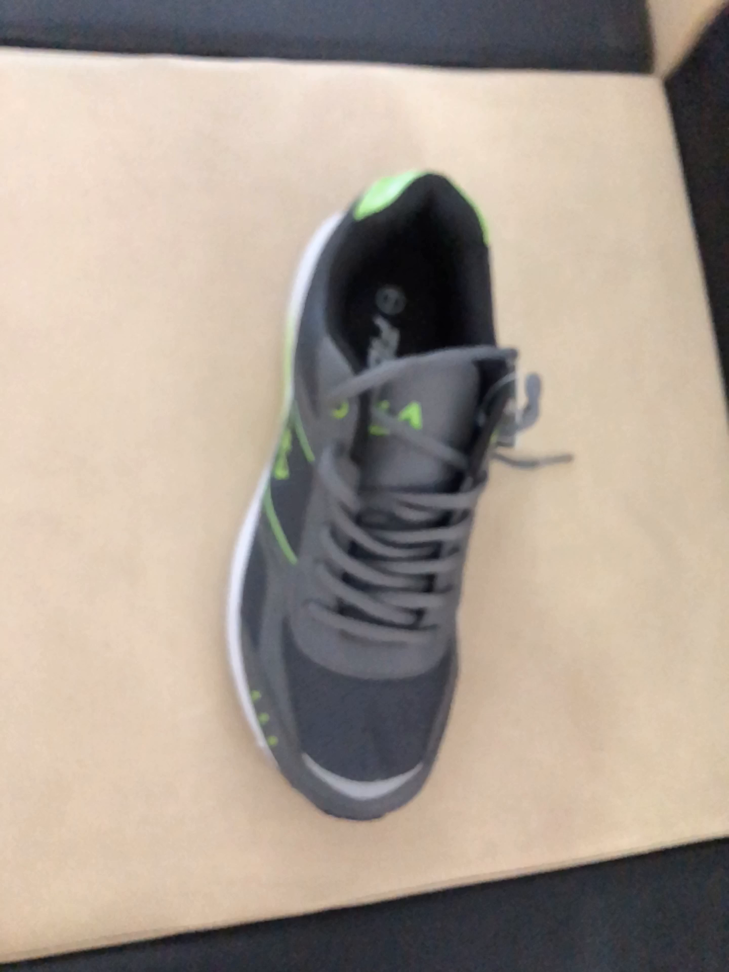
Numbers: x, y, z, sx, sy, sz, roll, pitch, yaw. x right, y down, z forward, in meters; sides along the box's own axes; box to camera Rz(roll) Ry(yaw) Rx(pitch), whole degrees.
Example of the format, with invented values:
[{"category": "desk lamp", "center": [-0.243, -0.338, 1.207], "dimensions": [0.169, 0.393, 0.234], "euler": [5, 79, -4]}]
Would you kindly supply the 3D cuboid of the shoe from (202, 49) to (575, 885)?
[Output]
[{"category": "shoe", "center": [0.005, -0.011, 0.367], "dimensions": [0.130, 0.100, 0.320], "euler": [3, 77, -9]}]
